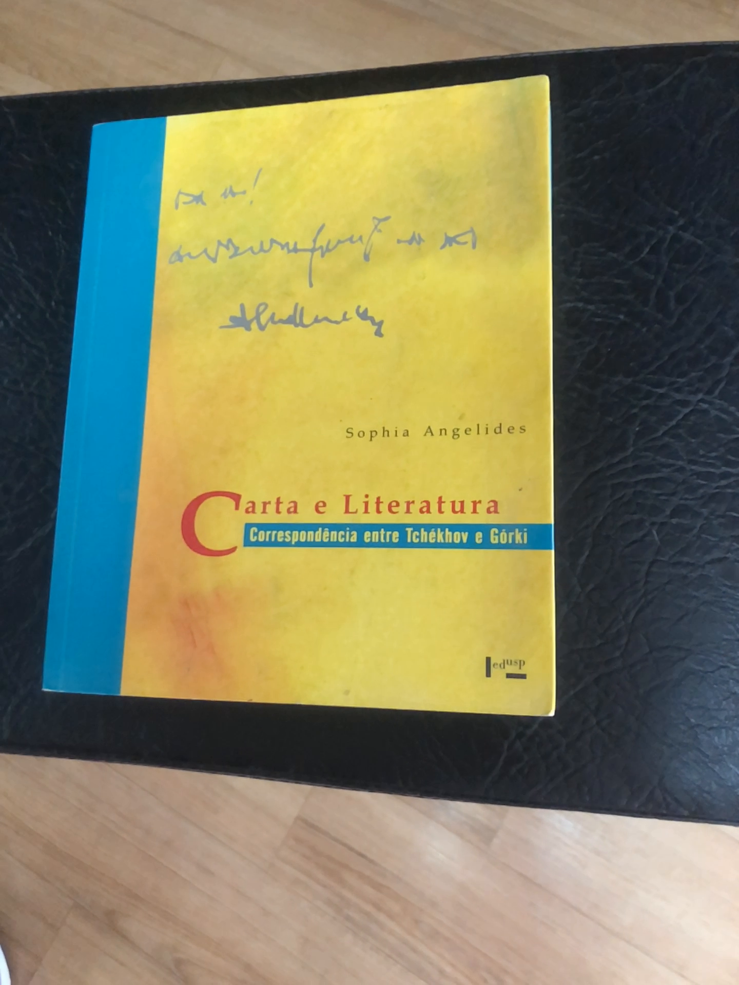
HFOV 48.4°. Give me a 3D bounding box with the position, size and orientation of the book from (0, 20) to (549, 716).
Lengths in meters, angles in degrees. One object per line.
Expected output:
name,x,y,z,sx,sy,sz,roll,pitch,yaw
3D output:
book,-0.030,-0.041,0.268,0.173,0.024,0.208,0,81,13
